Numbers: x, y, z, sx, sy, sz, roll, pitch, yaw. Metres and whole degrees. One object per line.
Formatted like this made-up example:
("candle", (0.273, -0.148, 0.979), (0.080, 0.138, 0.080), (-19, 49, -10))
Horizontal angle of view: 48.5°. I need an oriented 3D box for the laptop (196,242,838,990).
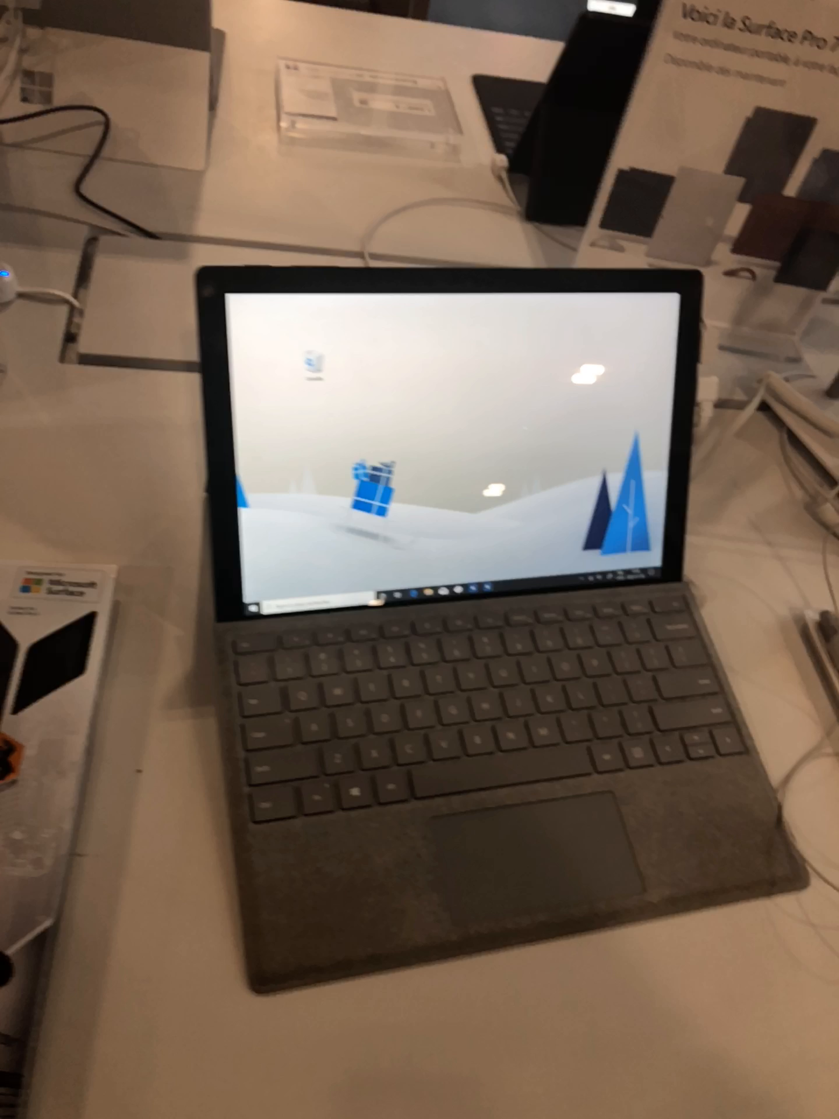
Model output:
("laptop", (0.046, 0.007, 0.474), (0.285, 0.150, 0.308), (-4, 55, -17))
